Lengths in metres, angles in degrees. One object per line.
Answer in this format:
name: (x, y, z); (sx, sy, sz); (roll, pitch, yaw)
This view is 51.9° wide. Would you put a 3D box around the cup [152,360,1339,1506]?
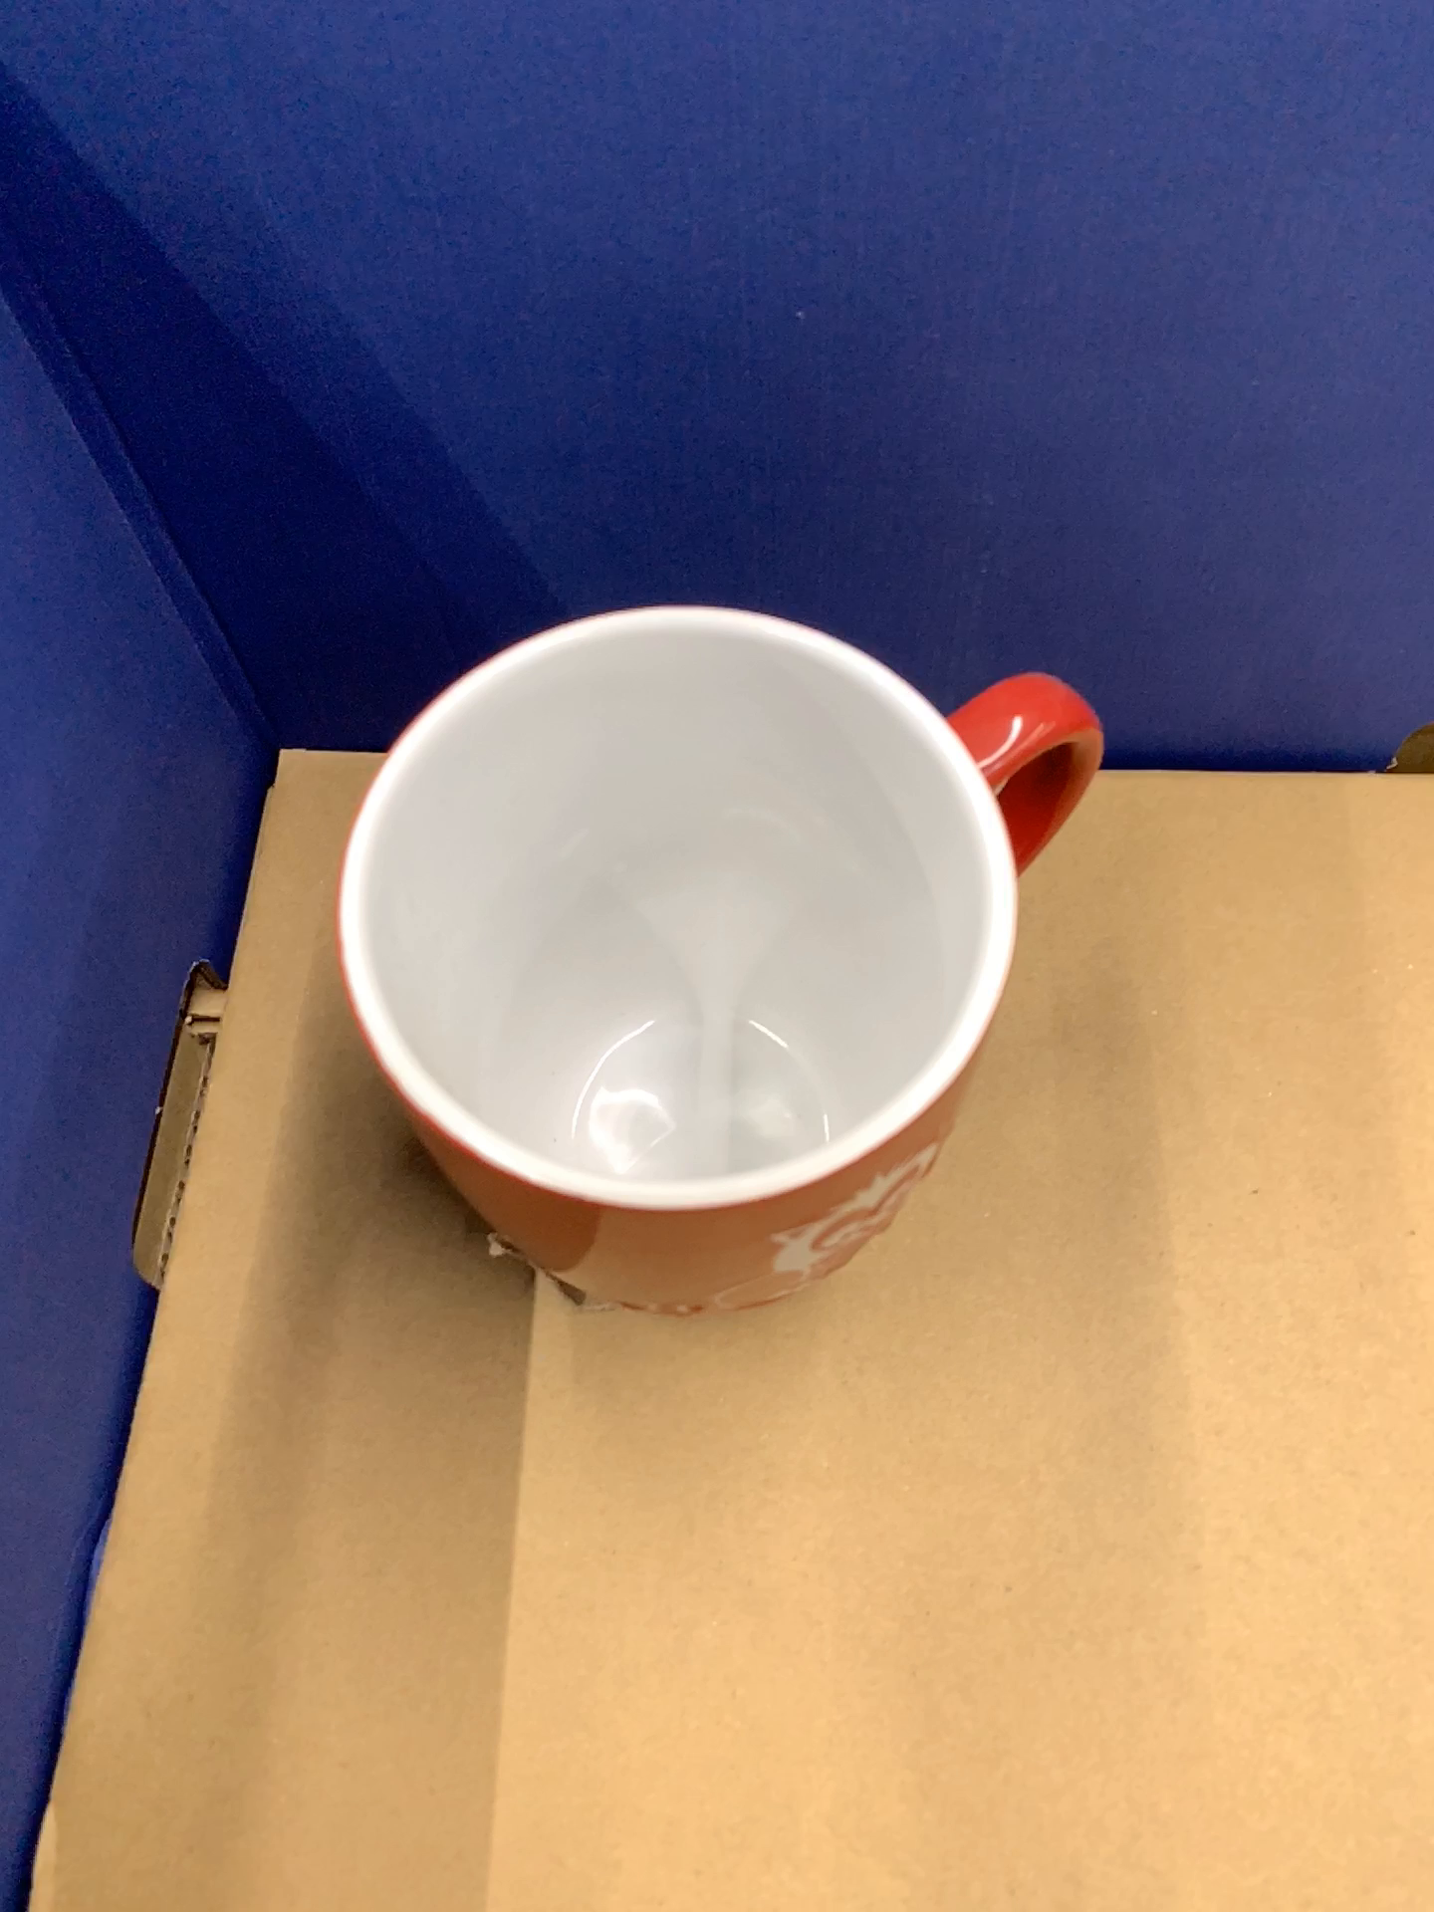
cup: (0.006, -0.003, 0.232); (0.100, 0.091, 0.120); (40, 70, 22)
